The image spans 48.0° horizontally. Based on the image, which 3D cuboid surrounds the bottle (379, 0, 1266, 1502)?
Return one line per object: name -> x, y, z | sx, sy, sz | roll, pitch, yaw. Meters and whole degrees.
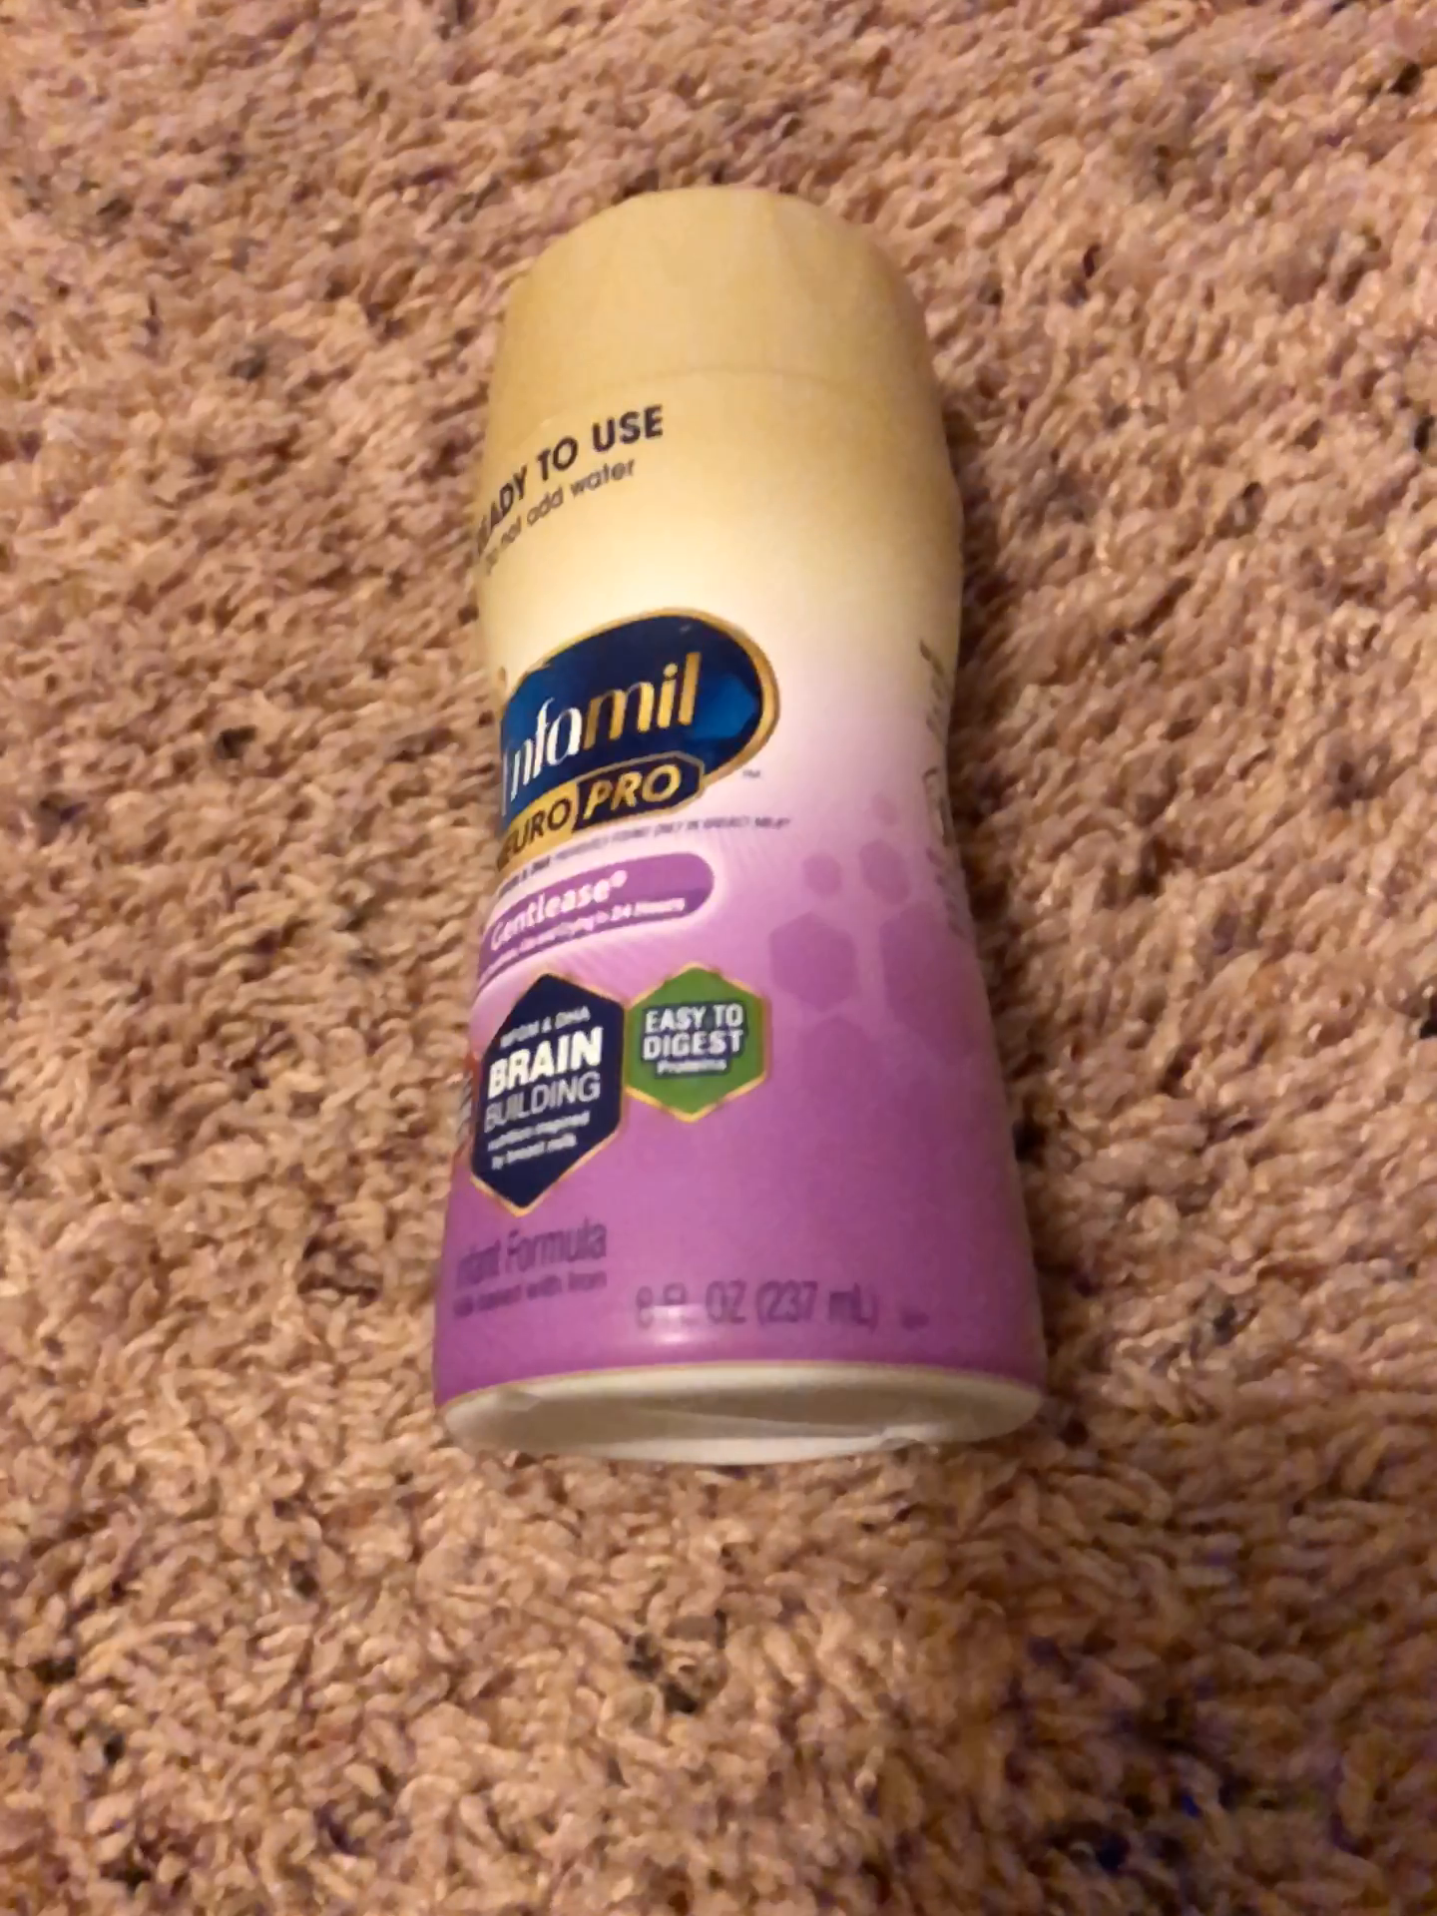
bottle -> 0.006, -0.021, 0.182 | 0.060, 0.060, 0.150 | -32, 53, 50
